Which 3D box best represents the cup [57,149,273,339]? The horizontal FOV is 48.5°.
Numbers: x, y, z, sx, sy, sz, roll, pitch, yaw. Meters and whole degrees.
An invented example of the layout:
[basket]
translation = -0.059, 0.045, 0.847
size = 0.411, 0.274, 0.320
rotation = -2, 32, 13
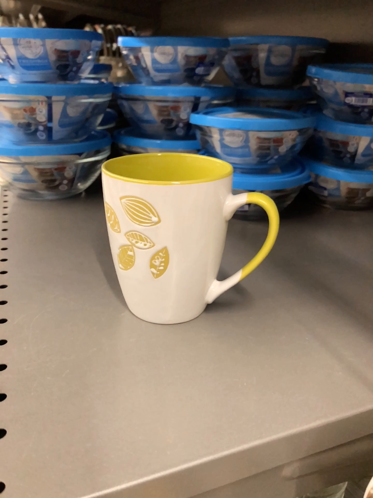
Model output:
[cup]
translation = -0.008, -0.012, 0.298
size = 0.126, 0.095, 0.094
rotation = 6, 24, 11
